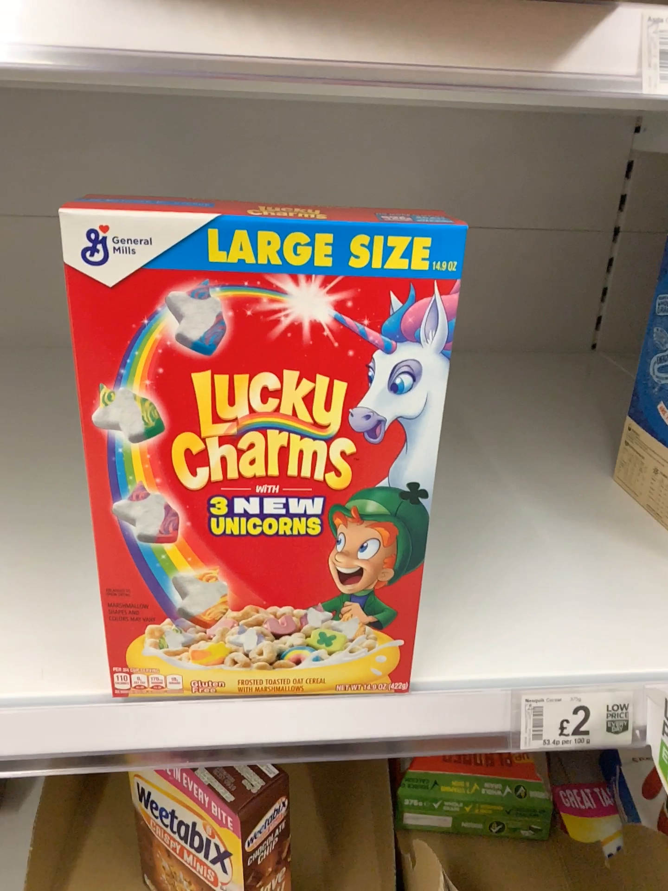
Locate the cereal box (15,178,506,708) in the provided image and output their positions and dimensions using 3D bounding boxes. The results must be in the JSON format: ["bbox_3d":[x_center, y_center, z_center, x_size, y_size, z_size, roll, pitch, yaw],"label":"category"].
[{"bbox_3d":[-0.037,0.010,0.387,0.210,0.288,0.071,1,25,-4],"label":"cereal box"}]
